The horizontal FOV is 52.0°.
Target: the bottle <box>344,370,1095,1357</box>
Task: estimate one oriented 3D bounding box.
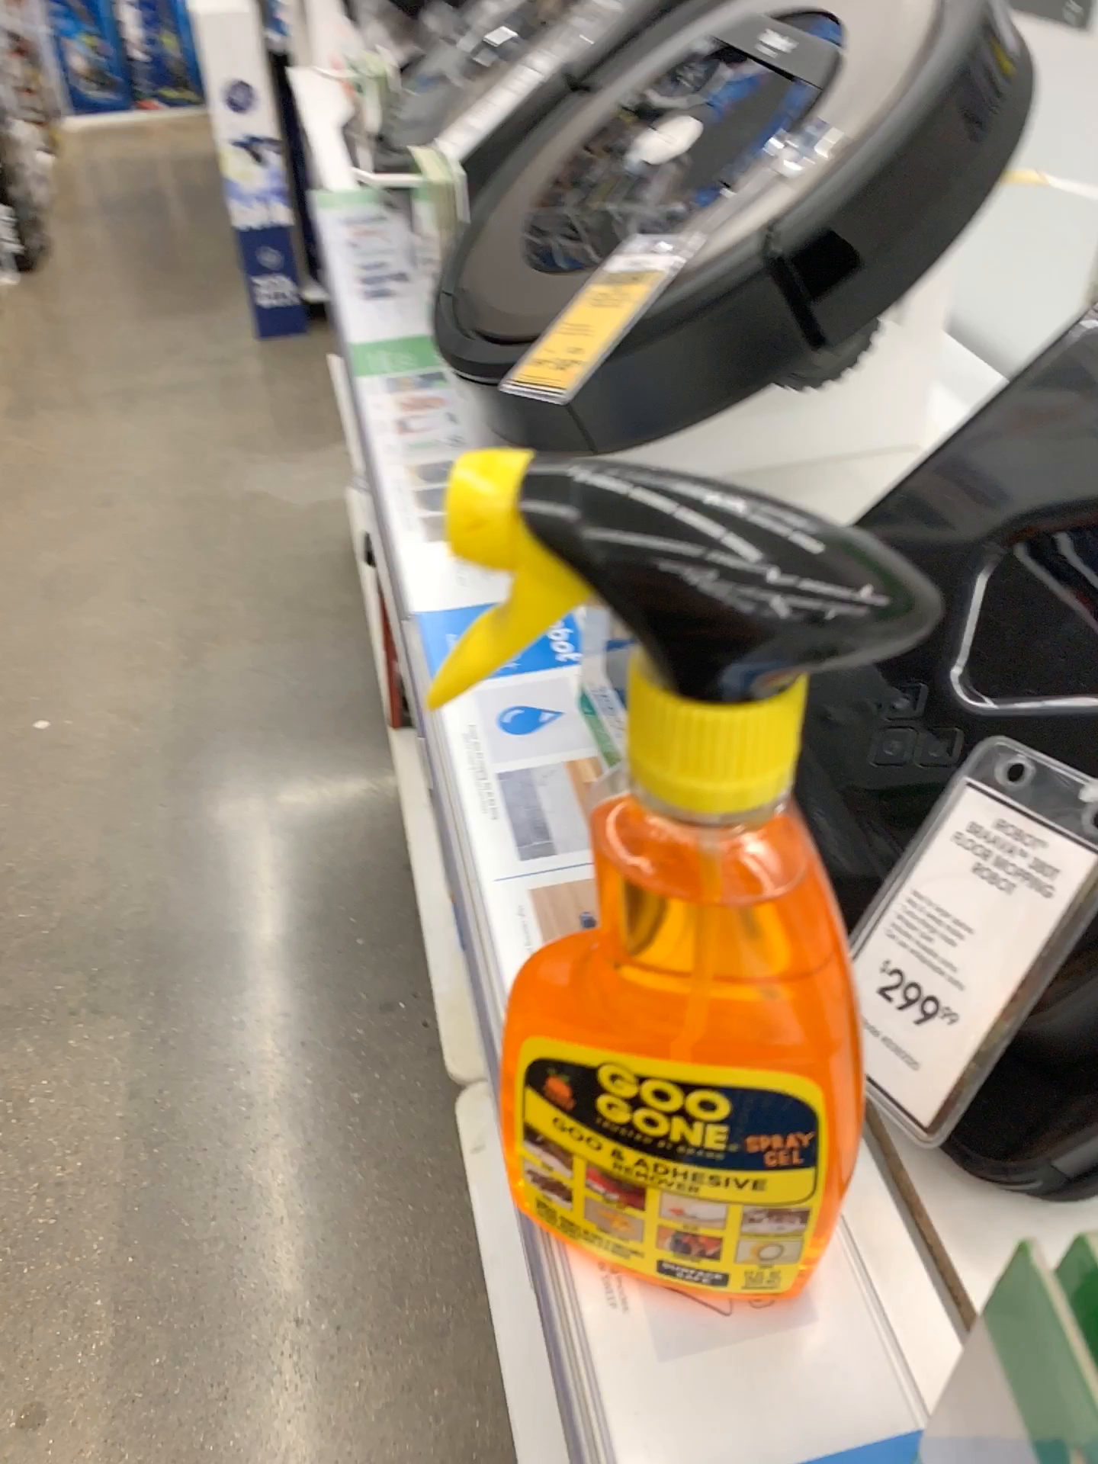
[{"bbox_3d":[0.029,0.047,0.240,0.100,0.226,0.050,10,42,14],"label":"bottle"}]
